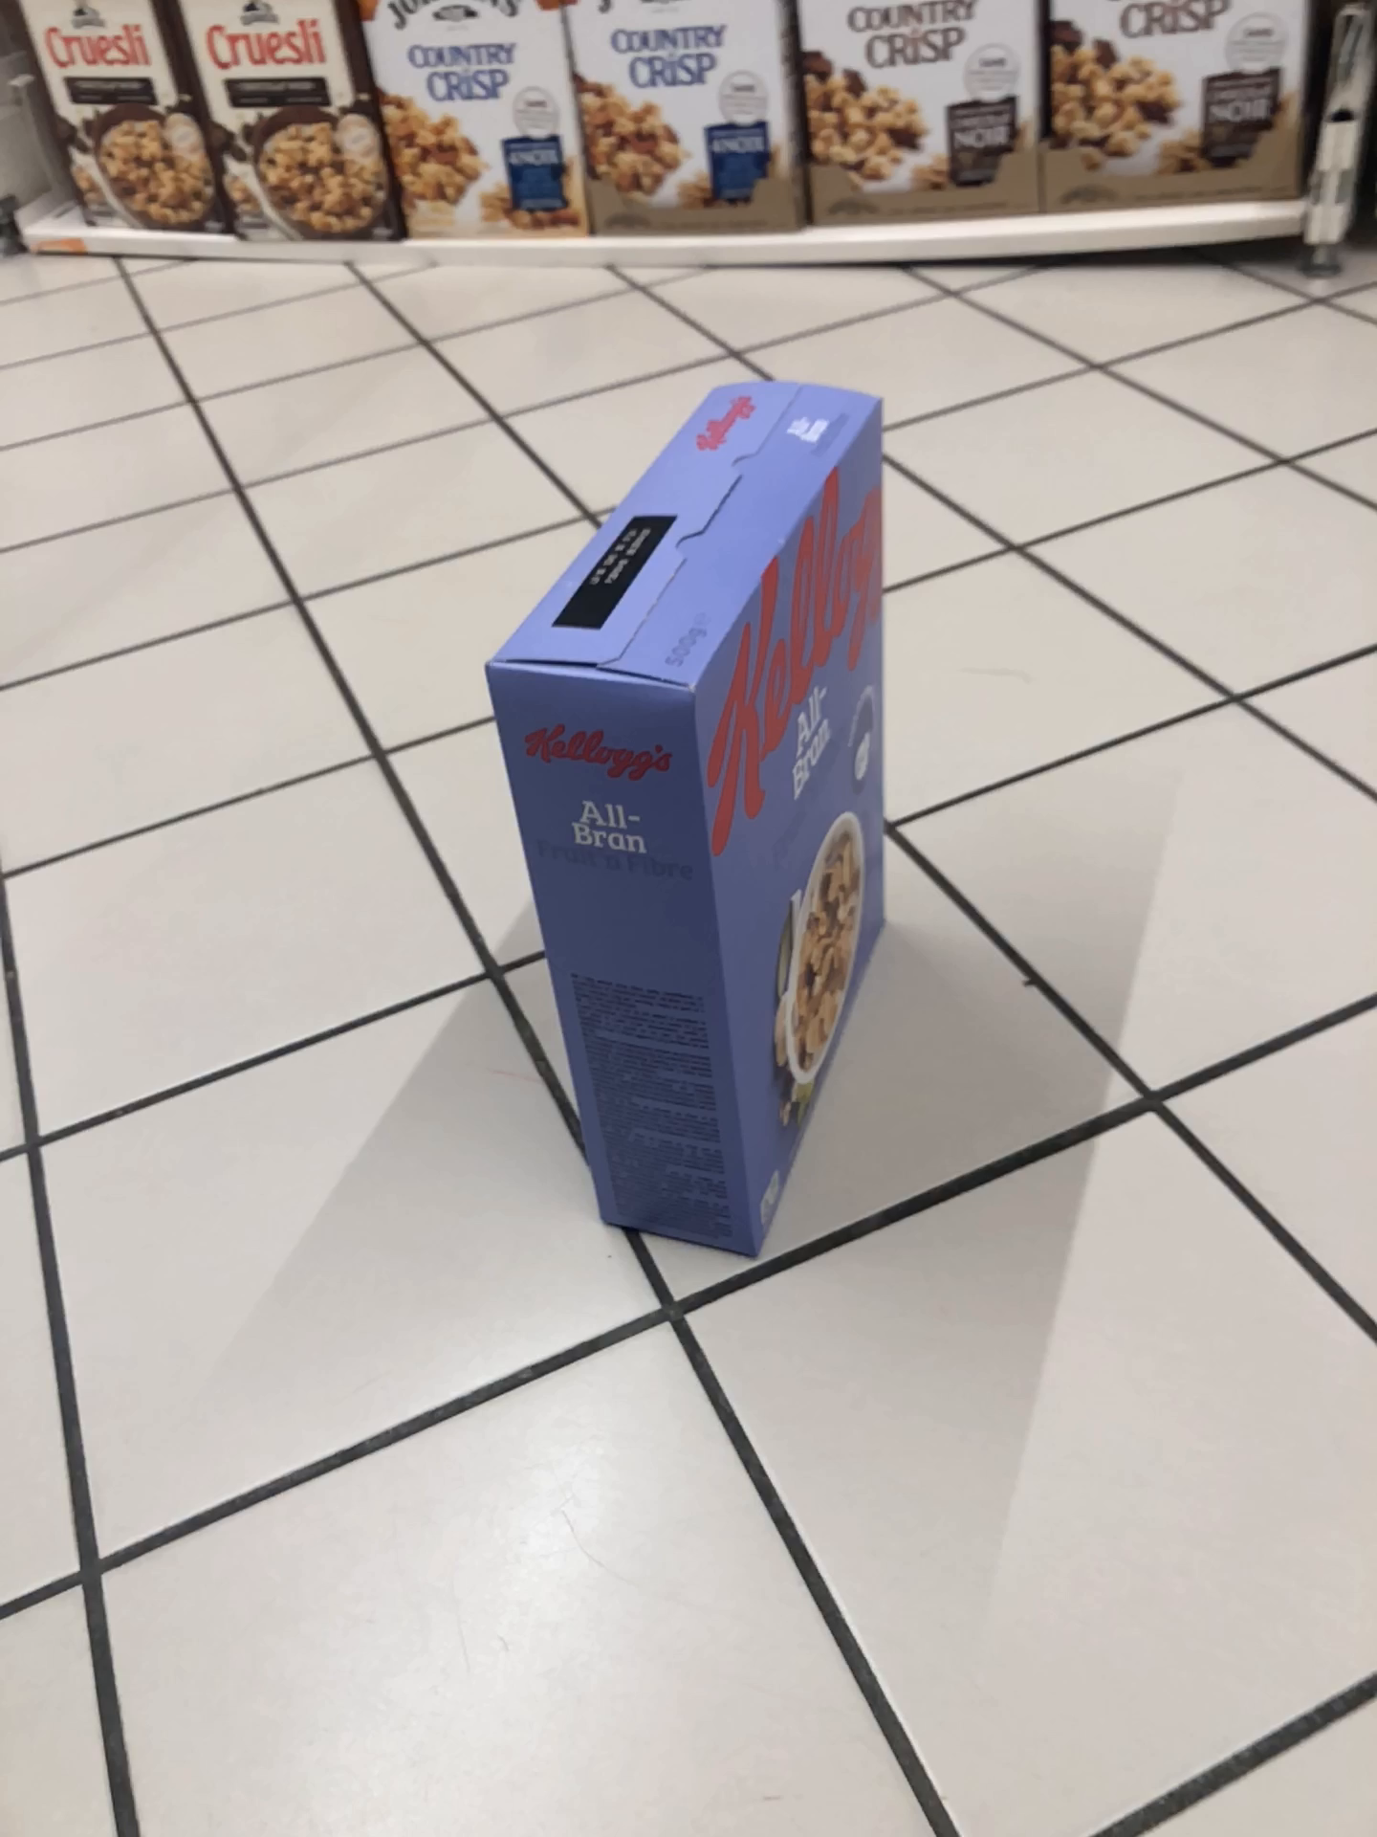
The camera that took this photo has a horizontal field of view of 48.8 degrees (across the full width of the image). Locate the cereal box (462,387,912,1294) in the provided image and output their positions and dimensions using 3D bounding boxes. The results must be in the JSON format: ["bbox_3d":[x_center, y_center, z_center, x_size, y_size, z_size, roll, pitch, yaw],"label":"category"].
[{"bbox_3d":[0.019,-0.029,0.534,0.070,0.239,0.201,9,42,19],"label":"cereal box"}]
